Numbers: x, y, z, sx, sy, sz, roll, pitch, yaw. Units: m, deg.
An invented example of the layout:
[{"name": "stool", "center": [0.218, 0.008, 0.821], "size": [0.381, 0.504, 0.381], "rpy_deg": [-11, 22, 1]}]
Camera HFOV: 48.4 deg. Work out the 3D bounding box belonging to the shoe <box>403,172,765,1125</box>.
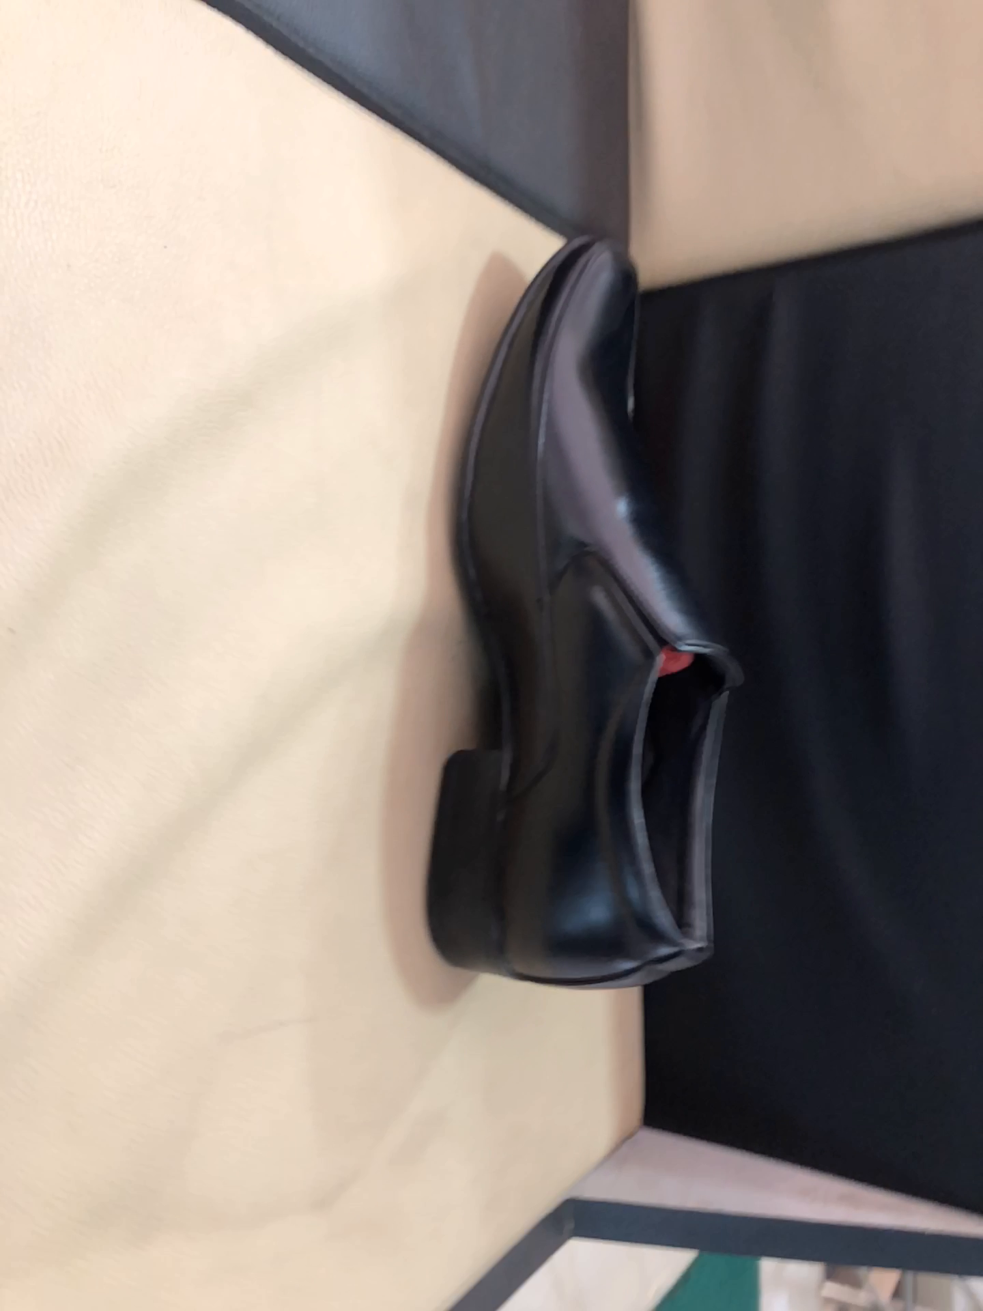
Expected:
[{"name": "shoe", "center": [0.043, -0.004, 0.425], "size": [0.101, 0.079, 0.320], "rpy_deg": [17, 76, -57]}]
